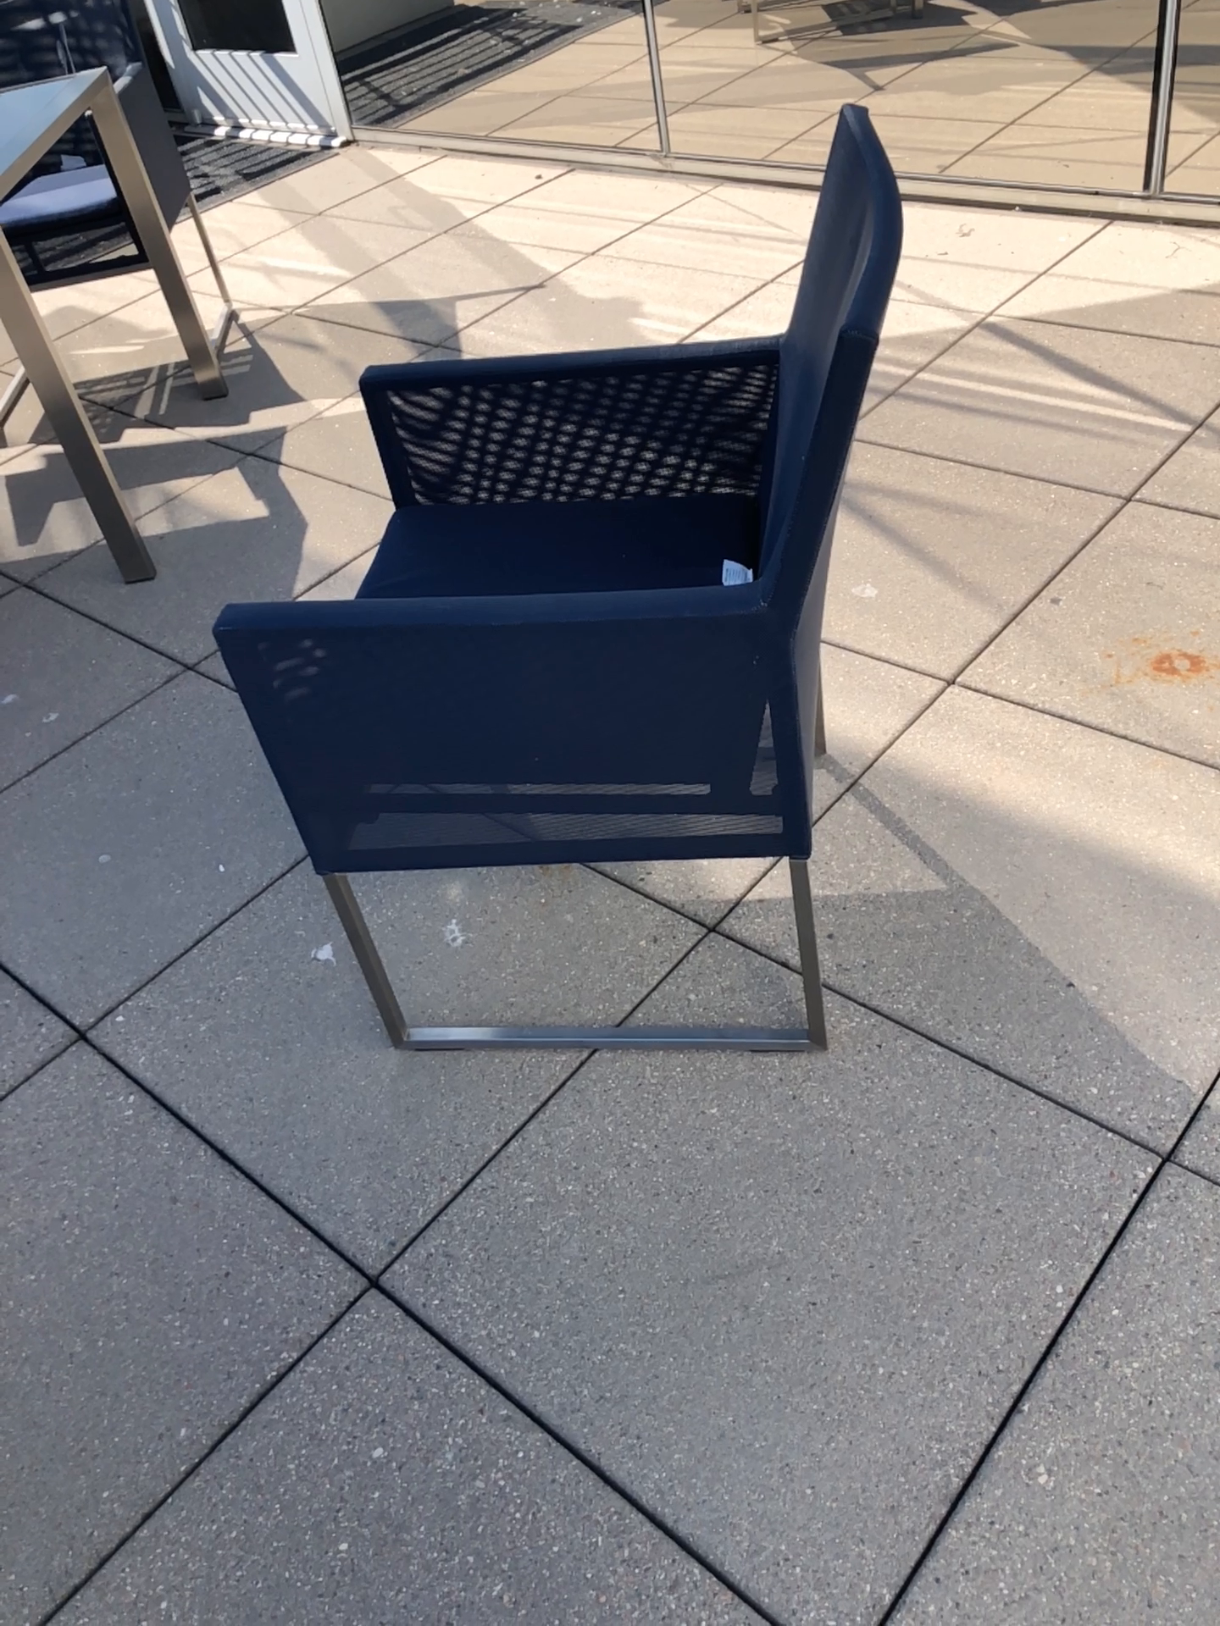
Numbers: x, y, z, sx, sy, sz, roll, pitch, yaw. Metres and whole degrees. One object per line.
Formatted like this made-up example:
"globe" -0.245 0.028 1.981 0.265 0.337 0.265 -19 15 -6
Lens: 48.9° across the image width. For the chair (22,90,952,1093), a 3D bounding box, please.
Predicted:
"chair" -0.014 -0.208 1.428 0.670 0.776 0.653 -3 41 10
